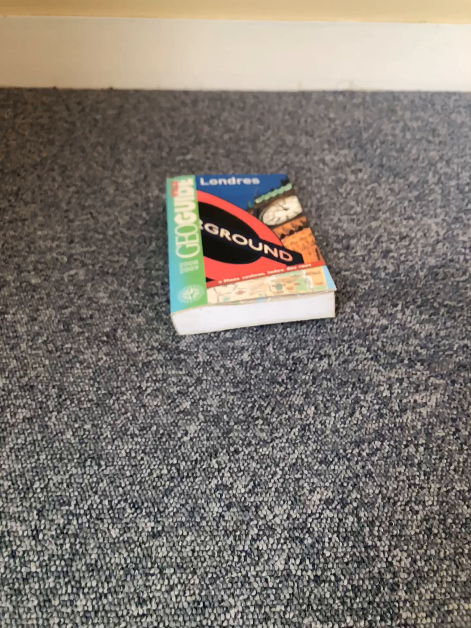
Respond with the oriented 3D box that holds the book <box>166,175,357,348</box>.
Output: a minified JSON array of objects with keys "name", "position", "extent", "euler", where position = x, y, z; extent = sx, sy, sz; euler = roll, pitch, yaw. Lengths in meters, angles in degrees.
[{"name":"book","position":[0.009,-0.057,0.446],"extent":[0.130,0.030,0.201],"euler":[-3,41,-6]}]
